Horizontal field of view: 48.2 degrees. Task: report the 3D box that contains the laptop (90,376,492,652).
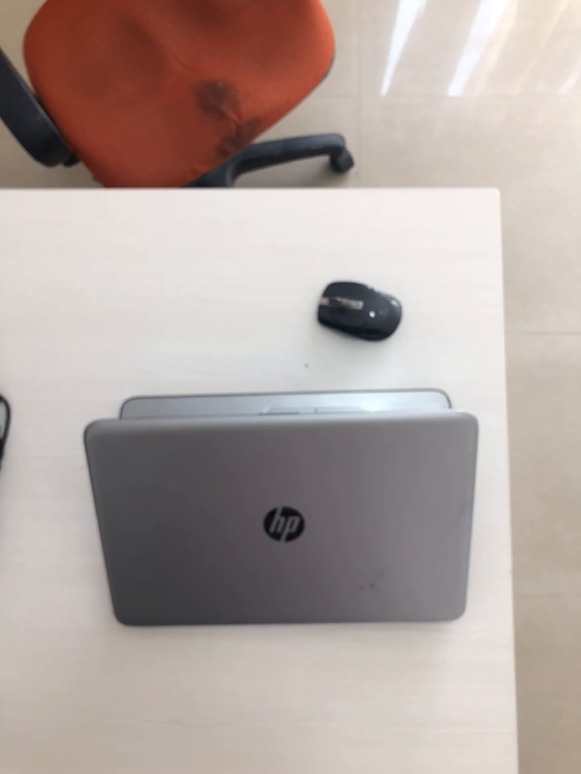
[{"bbox_3d":[-0.006,0.126,0.672,0.369,0.121,0.251,-2,83,2],"label":"laptop"}]
